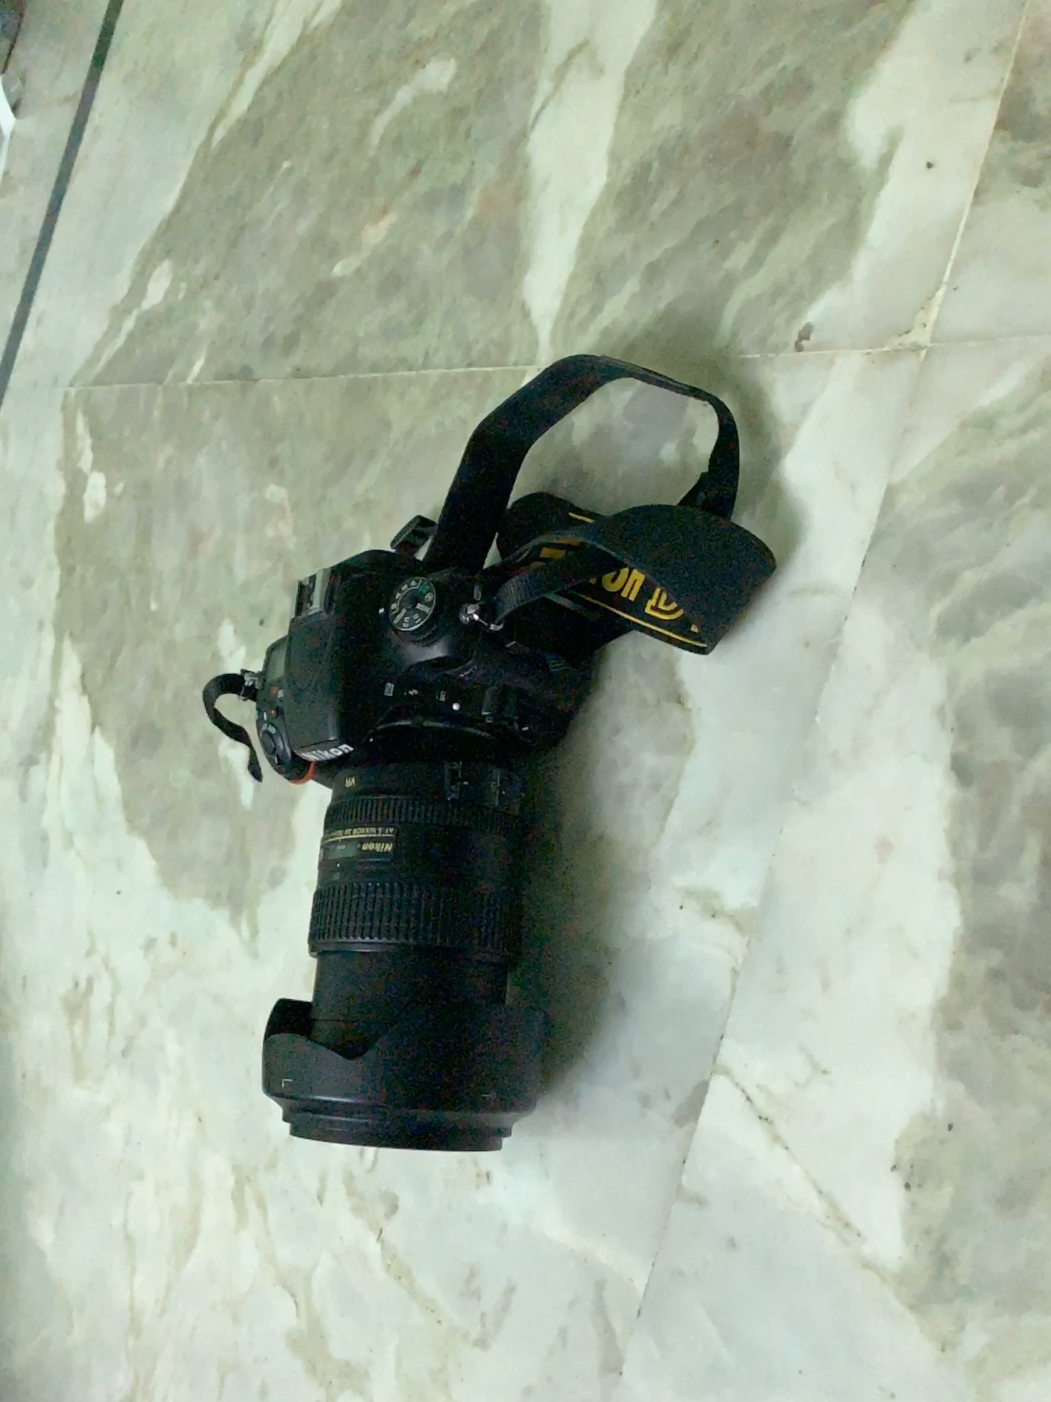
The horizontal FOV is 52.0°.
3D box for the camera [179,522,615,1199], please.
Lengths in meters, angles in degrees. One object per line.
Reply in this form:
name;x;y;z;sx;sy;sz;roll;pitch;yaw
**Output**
camera;-0.049;0.063;0.408;0.131;0.089;0.210;-17;66;42
